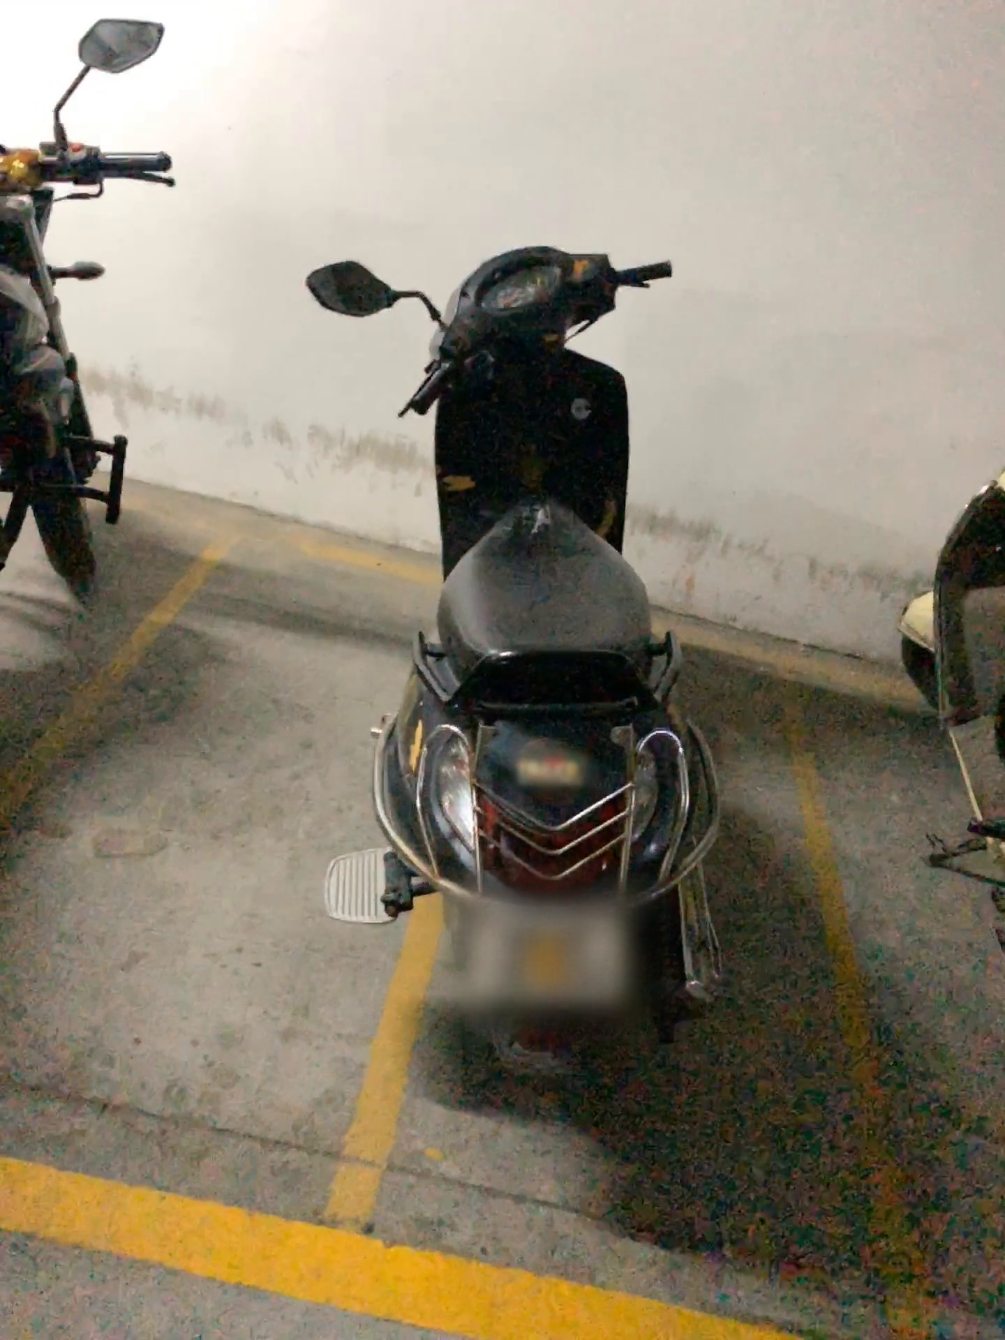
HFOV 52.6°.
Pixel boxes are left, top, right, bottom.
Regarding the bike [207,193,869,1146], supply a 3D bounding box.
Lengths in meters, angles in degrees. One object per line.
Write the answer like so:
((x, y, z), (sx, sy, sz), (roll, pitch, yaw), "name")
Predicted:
((-0.086, -0.128, 2.051), (0.652, 1.239, 1.540), (8, 31, -9), "bike")
